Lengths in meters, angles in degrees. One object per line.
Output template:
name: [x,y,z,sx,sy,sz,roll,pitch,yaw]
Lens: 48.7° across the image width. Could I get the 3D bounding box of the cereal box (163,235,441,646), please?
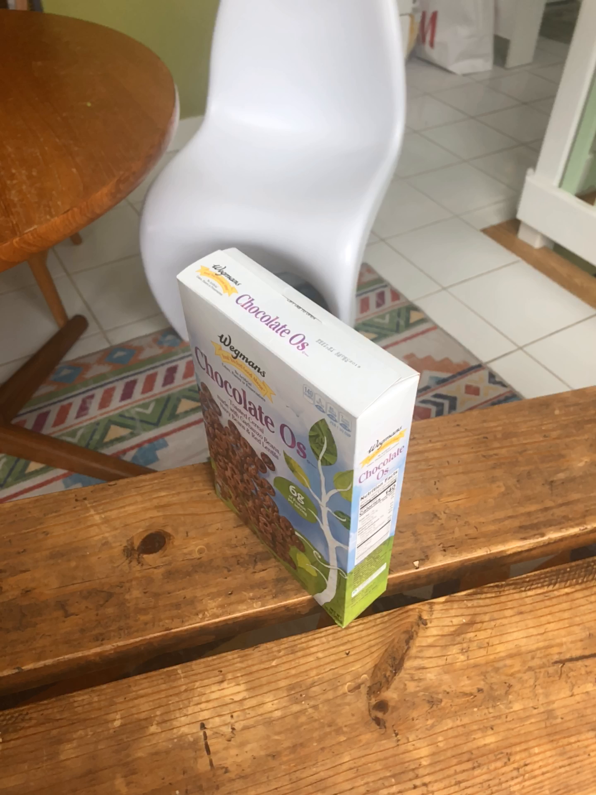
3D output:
cereal box: [-0.004,0.044,0.532,0.060,0.278,0.211,-32,53,-27]
